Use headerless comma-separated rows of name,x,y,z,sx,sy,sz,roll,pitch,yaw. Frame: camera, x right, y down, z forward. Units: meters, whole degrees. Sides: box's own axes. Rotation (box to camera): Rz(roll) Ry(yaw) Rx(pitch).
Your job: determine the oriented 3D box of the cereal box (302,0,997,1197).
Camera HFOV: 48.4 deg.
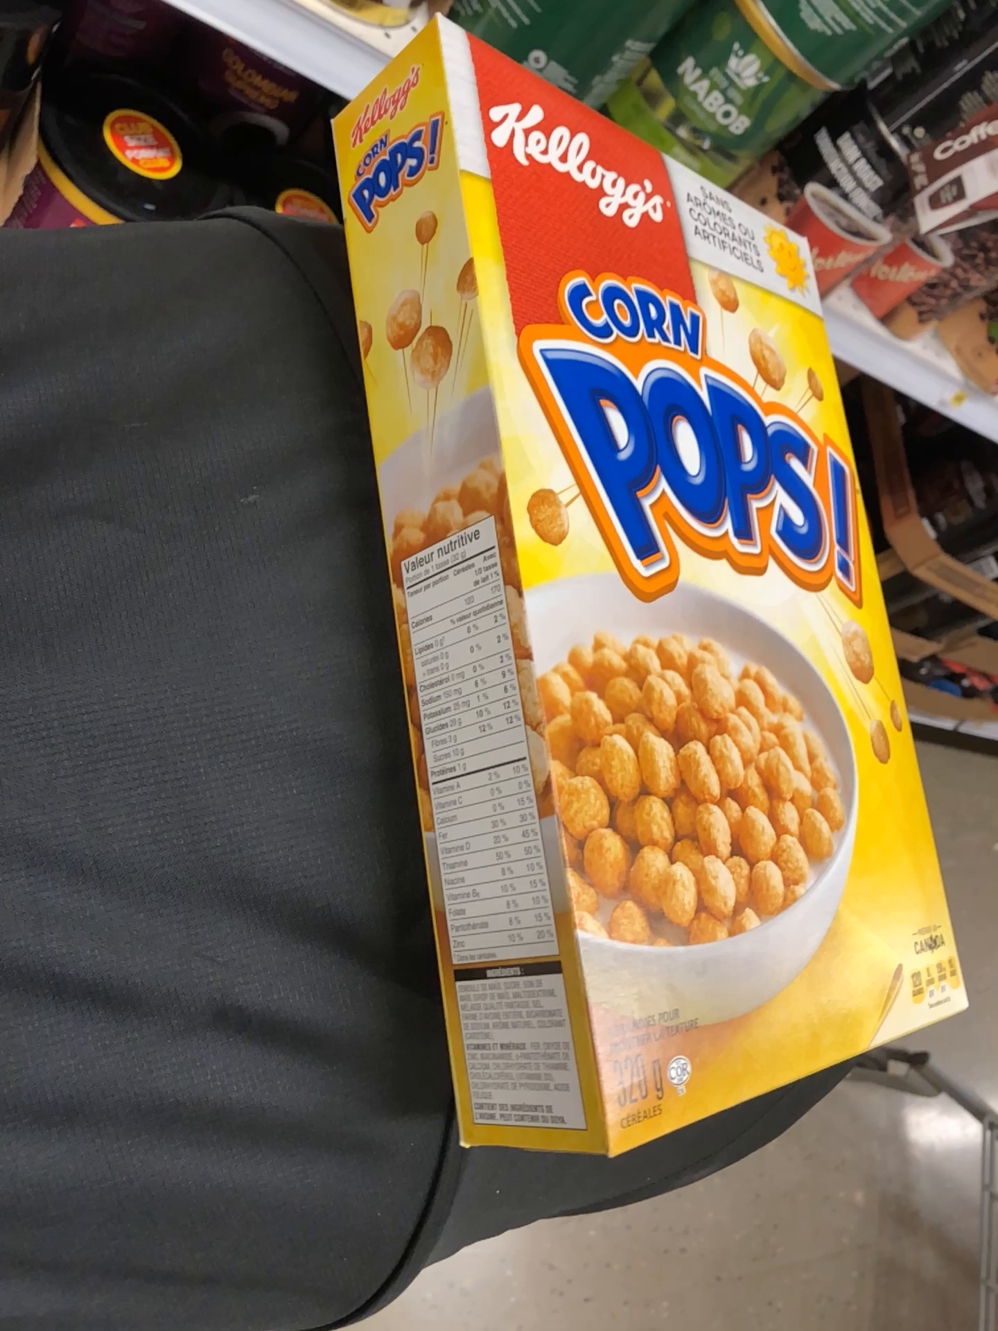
cereal box,0.056,-0.037,0.345,0.201,0.060,0.320,3,74,-43
